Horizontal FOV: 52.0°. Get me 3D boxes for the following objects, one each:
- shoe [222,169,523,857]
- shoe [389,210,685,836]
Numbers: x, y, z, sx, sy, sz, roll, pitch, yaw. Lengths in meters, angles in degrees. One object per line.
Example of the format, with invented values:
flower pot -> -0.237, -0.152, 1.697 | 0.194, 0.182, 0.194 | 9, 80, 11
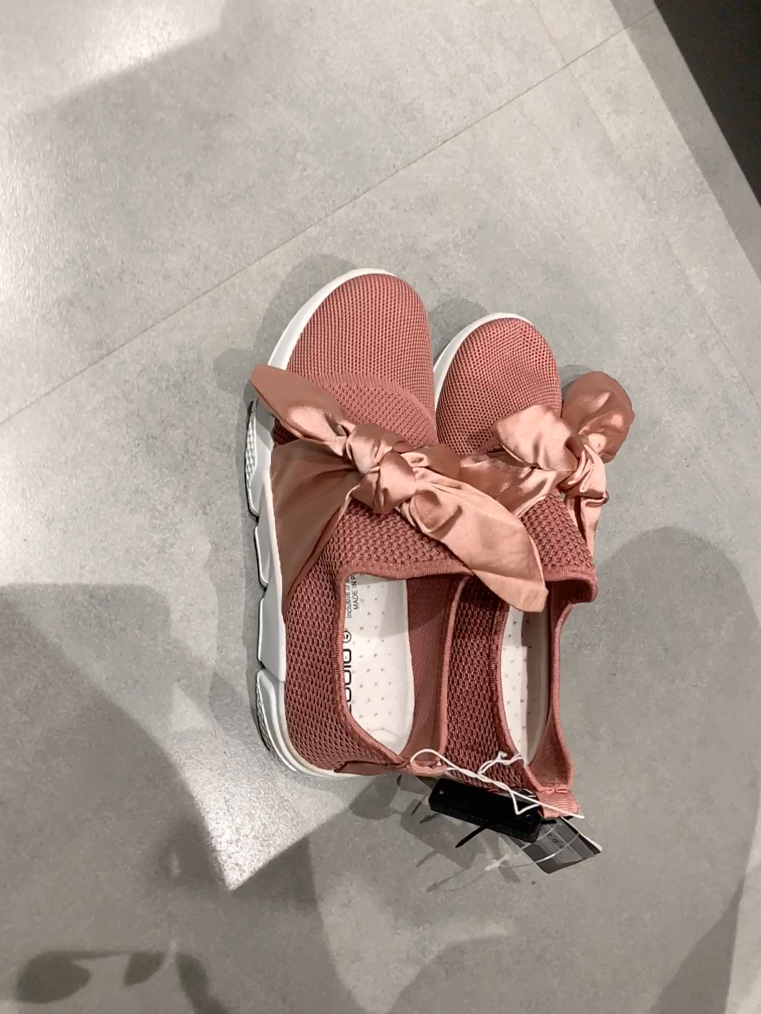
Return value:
shoe -> -0.008, 0.003, 0.374 | 0.110, 0.100, 0.270 | 2, 87, -25
shoe -> 0.076, 0.008, 0.404 | 0.110, 0.100, 0.270 | 2, 87, -25
